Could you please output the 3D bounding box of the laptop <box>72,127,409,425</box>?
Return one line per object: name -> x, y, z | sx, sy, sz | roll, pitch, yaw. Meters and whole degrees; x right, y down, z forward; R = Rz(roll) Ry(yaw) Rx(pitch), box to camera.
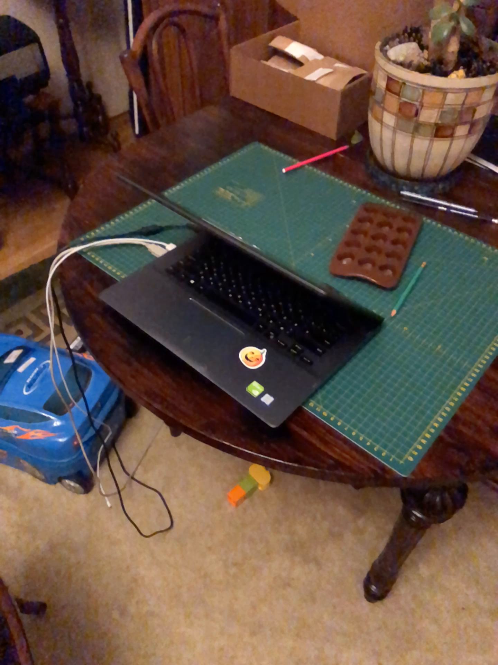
laptop -> -0.015, -0.090, 0.689 | 0.317, 0.162, 0.225 | 34, 55, 27
